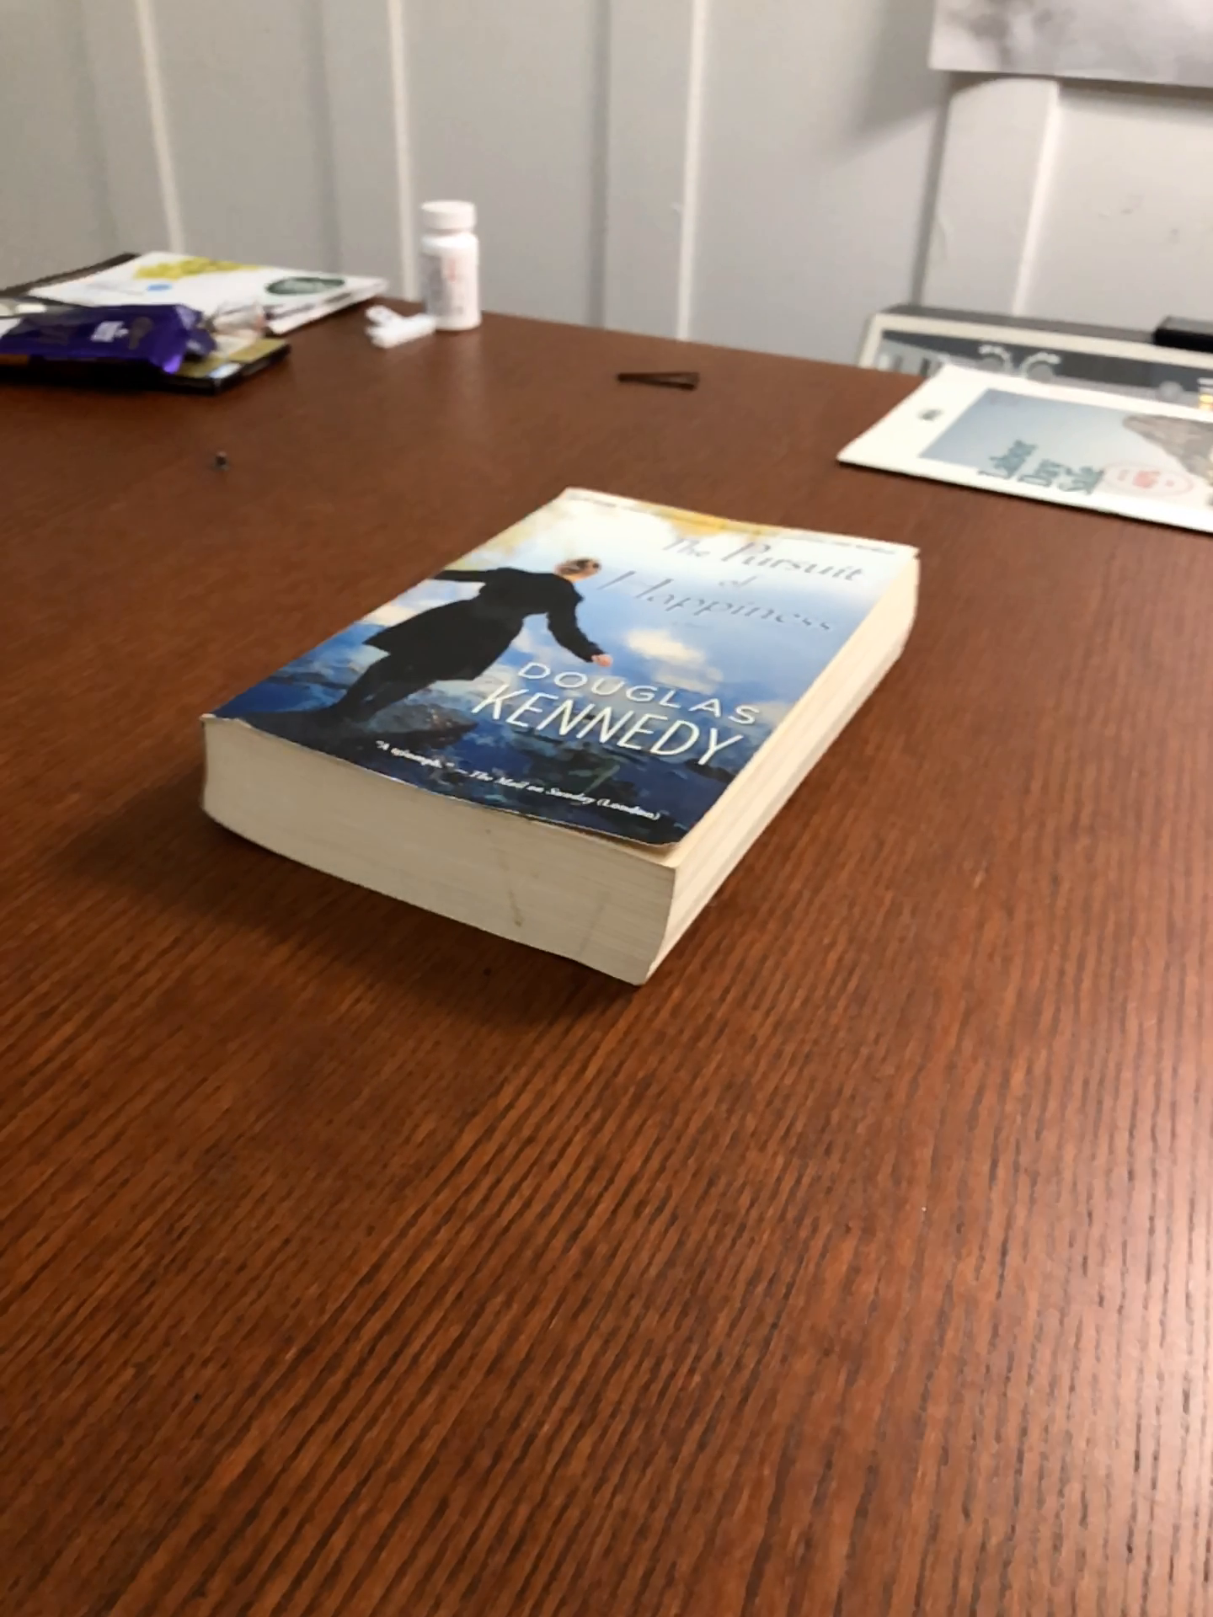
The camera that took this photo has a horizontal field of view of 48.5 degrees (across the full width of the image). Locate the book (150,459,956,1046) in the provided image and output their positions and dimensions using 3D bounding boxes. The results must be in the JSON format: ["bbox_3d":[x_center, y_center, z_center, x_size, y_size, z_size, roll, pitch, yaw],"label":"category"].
[{"bbox_3d":[0.001,-0.042,0.439,0.160,0.050,0.241,16,36,21],"label":"book"}]
